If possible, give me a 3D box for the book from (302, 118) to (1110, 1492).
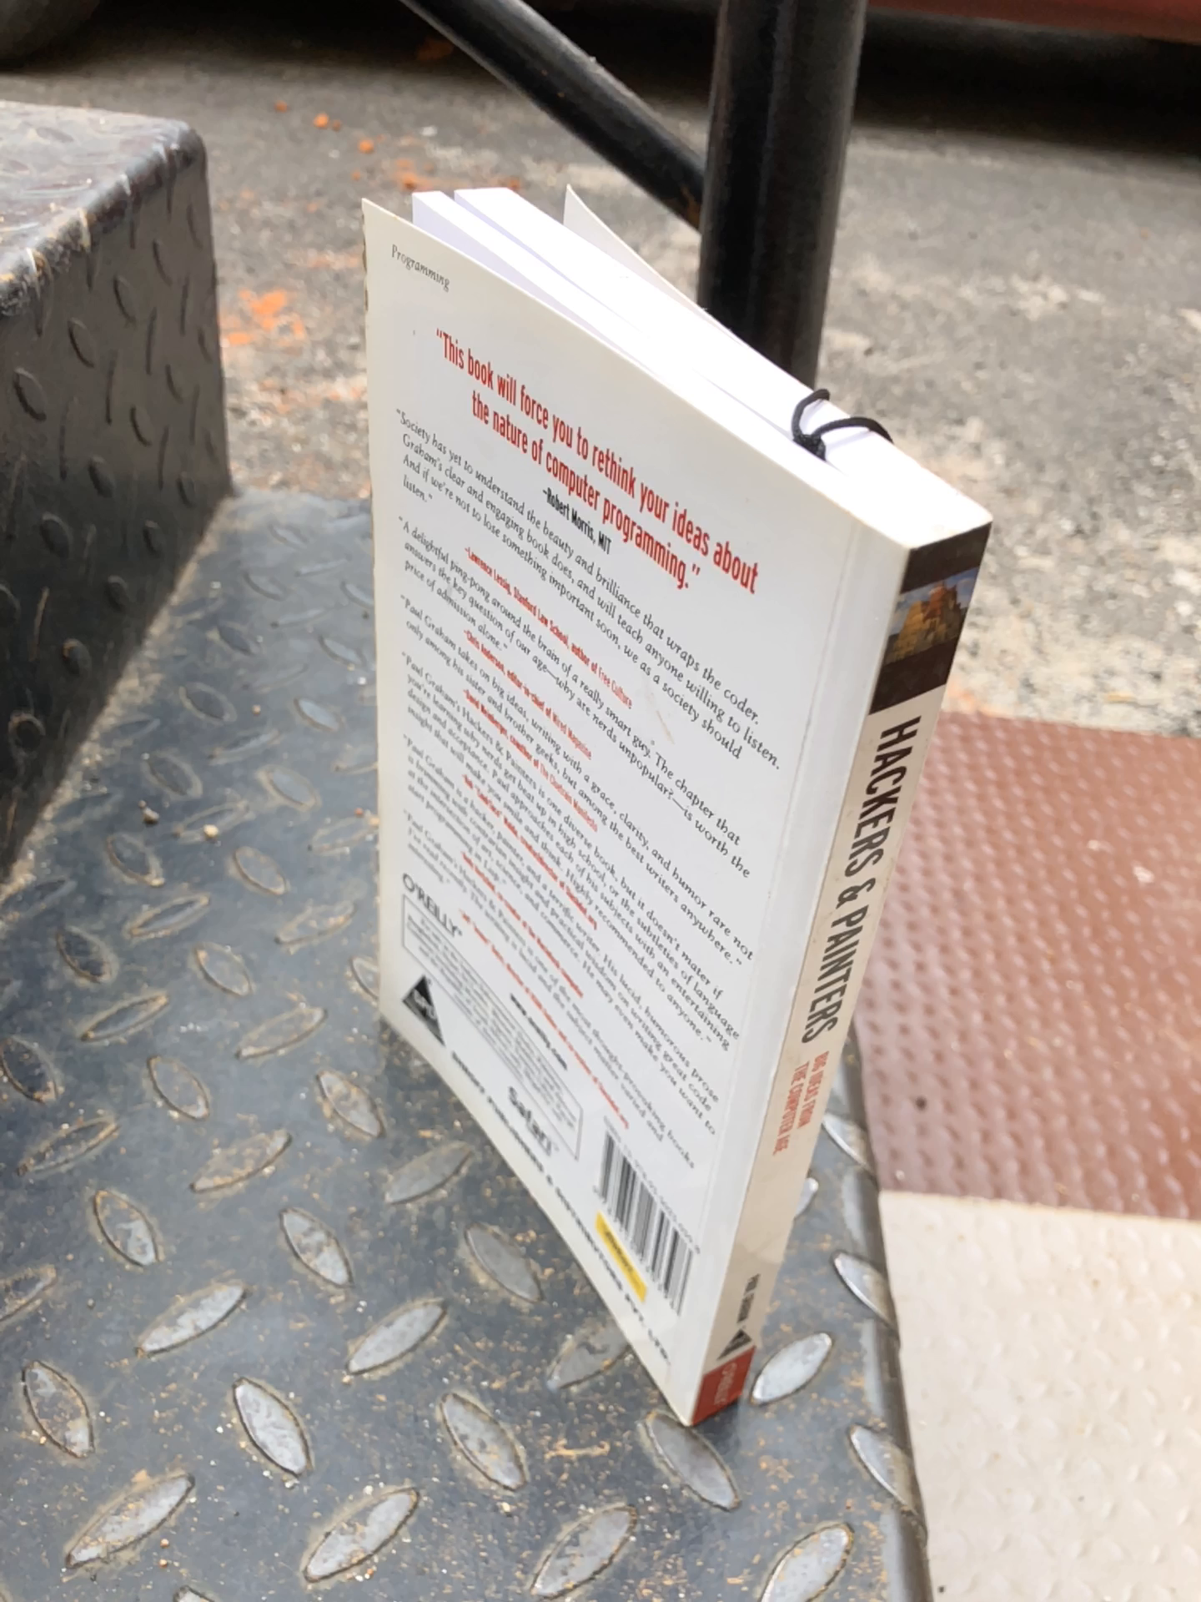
[{"bbox_3d":[-0.007,0.008,0.269,0.030,0.219,0.171,-18,47,-24],"label":"book"}]
